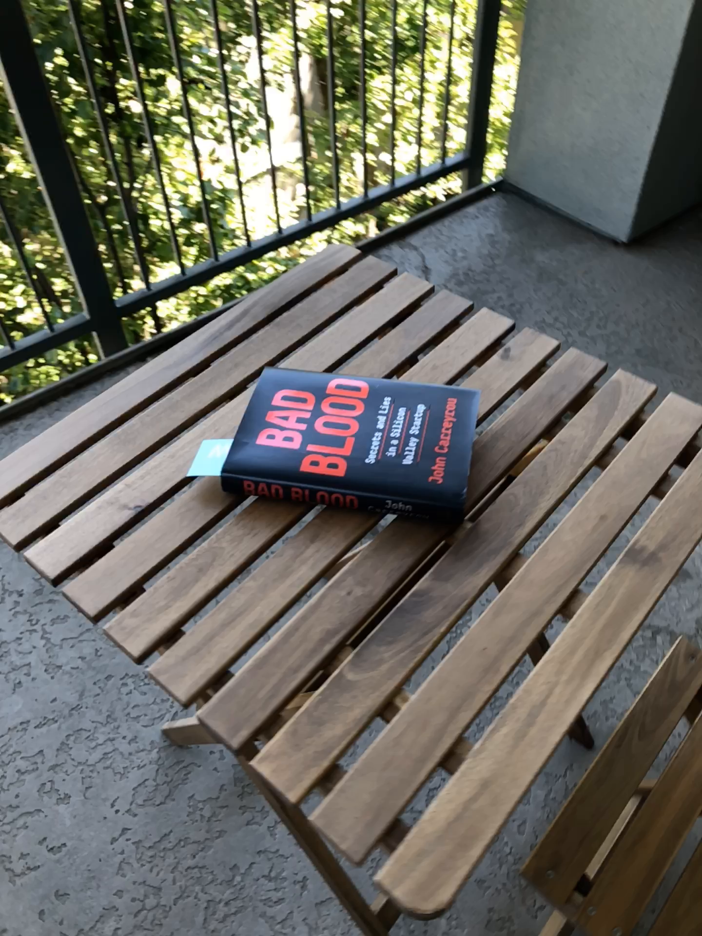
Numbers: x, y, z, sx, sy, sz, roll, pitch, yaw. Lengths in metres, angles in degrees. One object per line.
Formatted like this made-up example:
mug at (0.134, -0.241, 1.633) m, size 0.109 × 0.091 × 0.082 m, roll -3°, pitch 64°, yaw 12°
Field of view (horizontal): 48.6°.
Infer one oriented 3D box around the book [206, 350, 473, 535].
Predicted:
book at (-0.004, -0.033, 0.805) m, size 0.240 × 0.050 × 0.181 m, roll 7°, pitch 49°, yaw 8°
